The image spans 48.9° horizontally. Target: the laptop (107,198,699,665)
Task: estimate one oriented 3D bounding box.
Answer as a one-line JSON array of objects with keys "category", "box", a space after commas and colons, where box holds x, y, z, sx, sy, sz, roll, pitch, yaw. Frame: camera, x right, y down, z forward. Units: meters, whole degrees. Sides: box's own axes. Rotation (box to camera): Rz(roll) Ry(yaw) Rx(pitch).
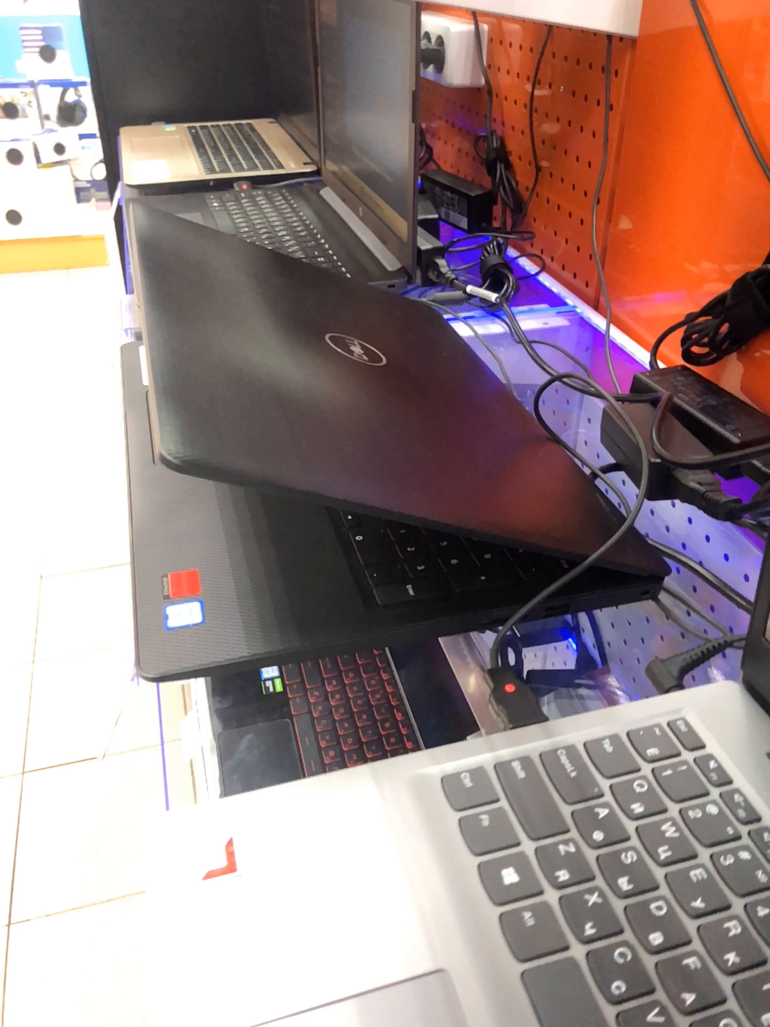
[{"category": "laptop", "box": [-0.034, -0.090, 0.507, 0.238, 0.100, 0.373, -8, 34, -13]}]
